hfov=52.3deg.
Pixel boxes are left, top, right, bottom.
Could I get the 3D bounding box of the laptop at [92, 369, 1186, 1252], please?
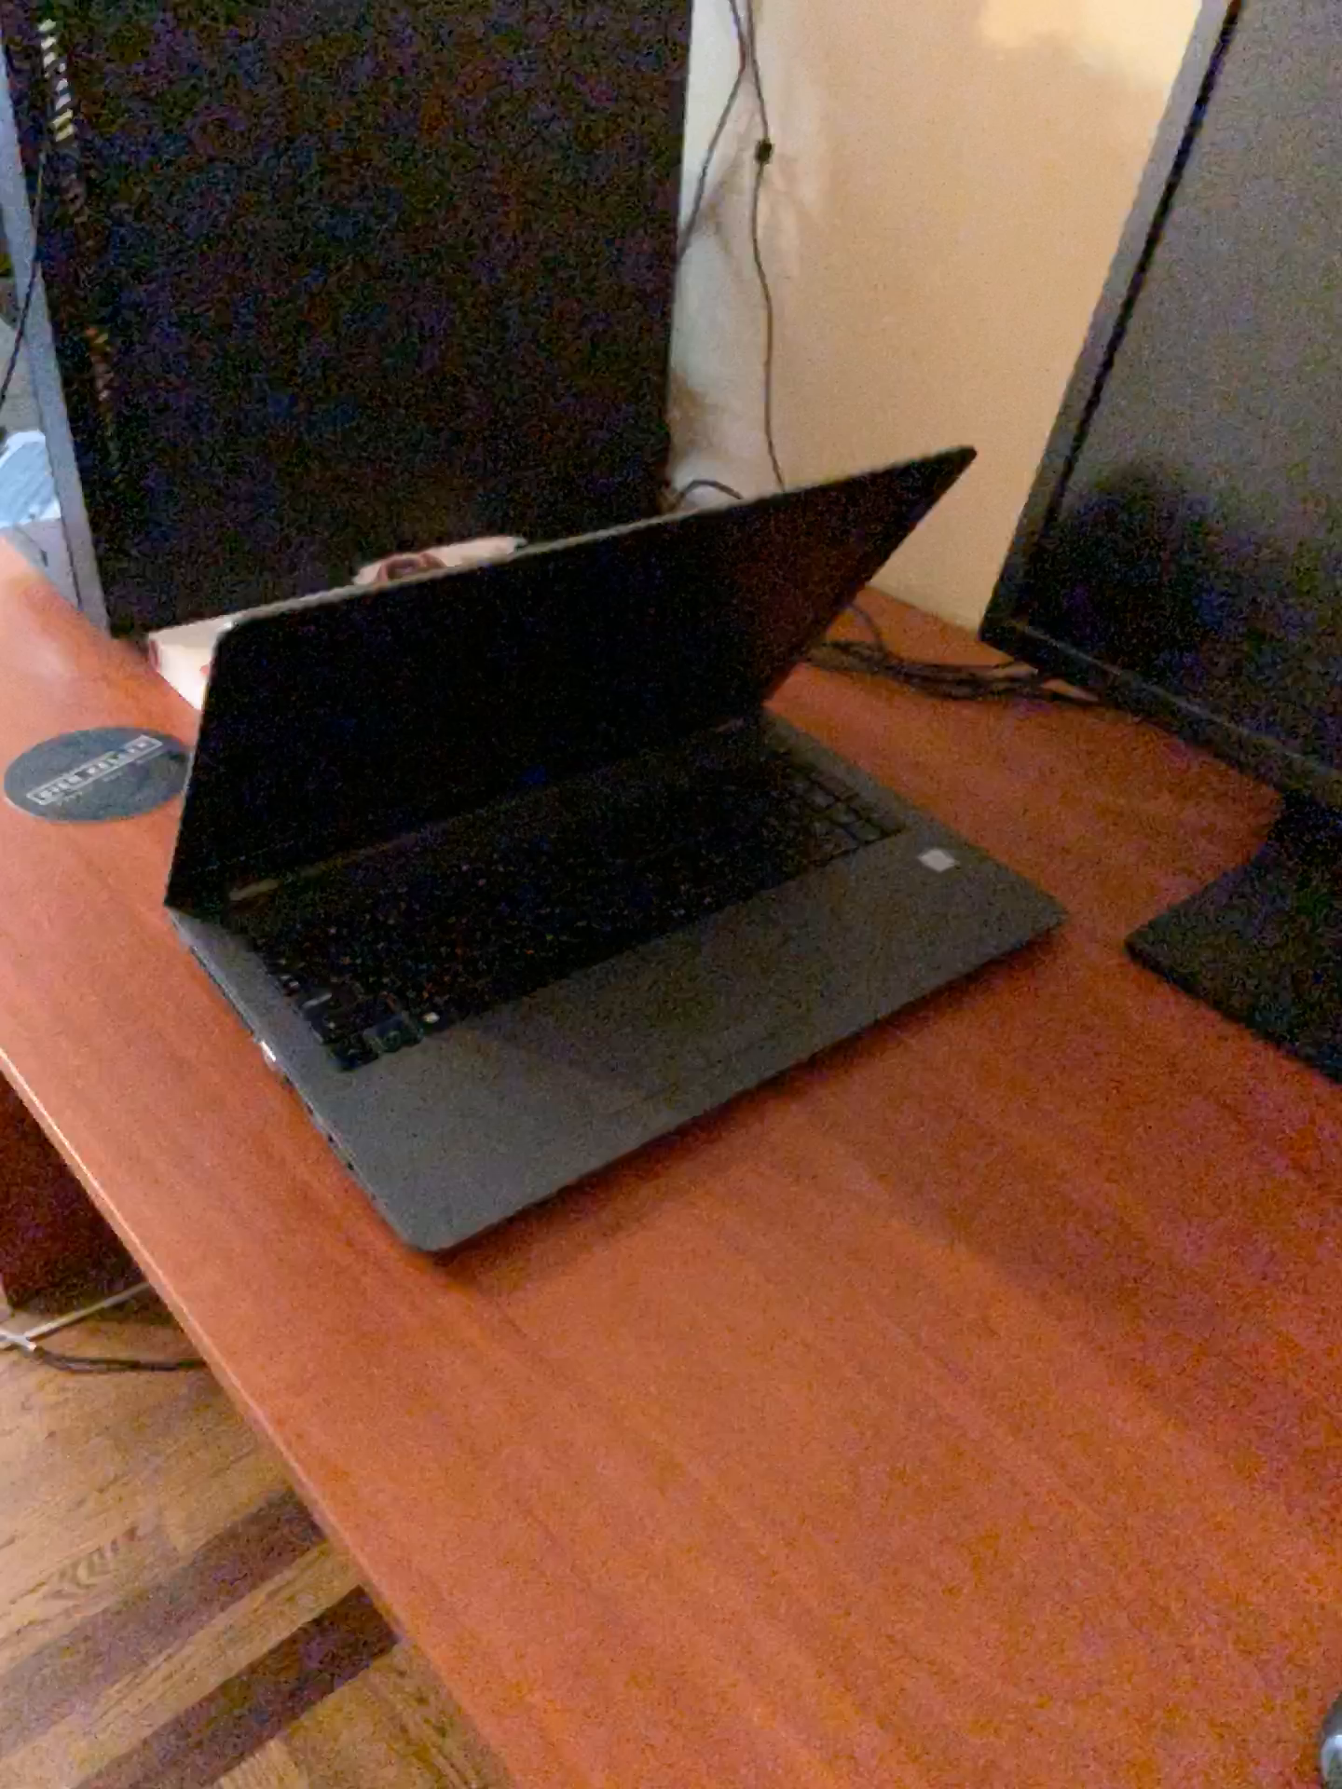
[{"bbox_3d":[-0.012,-0.074,0.622,0.375,0.207,0.250,-22,44,-31],"label":"laptop"}]
